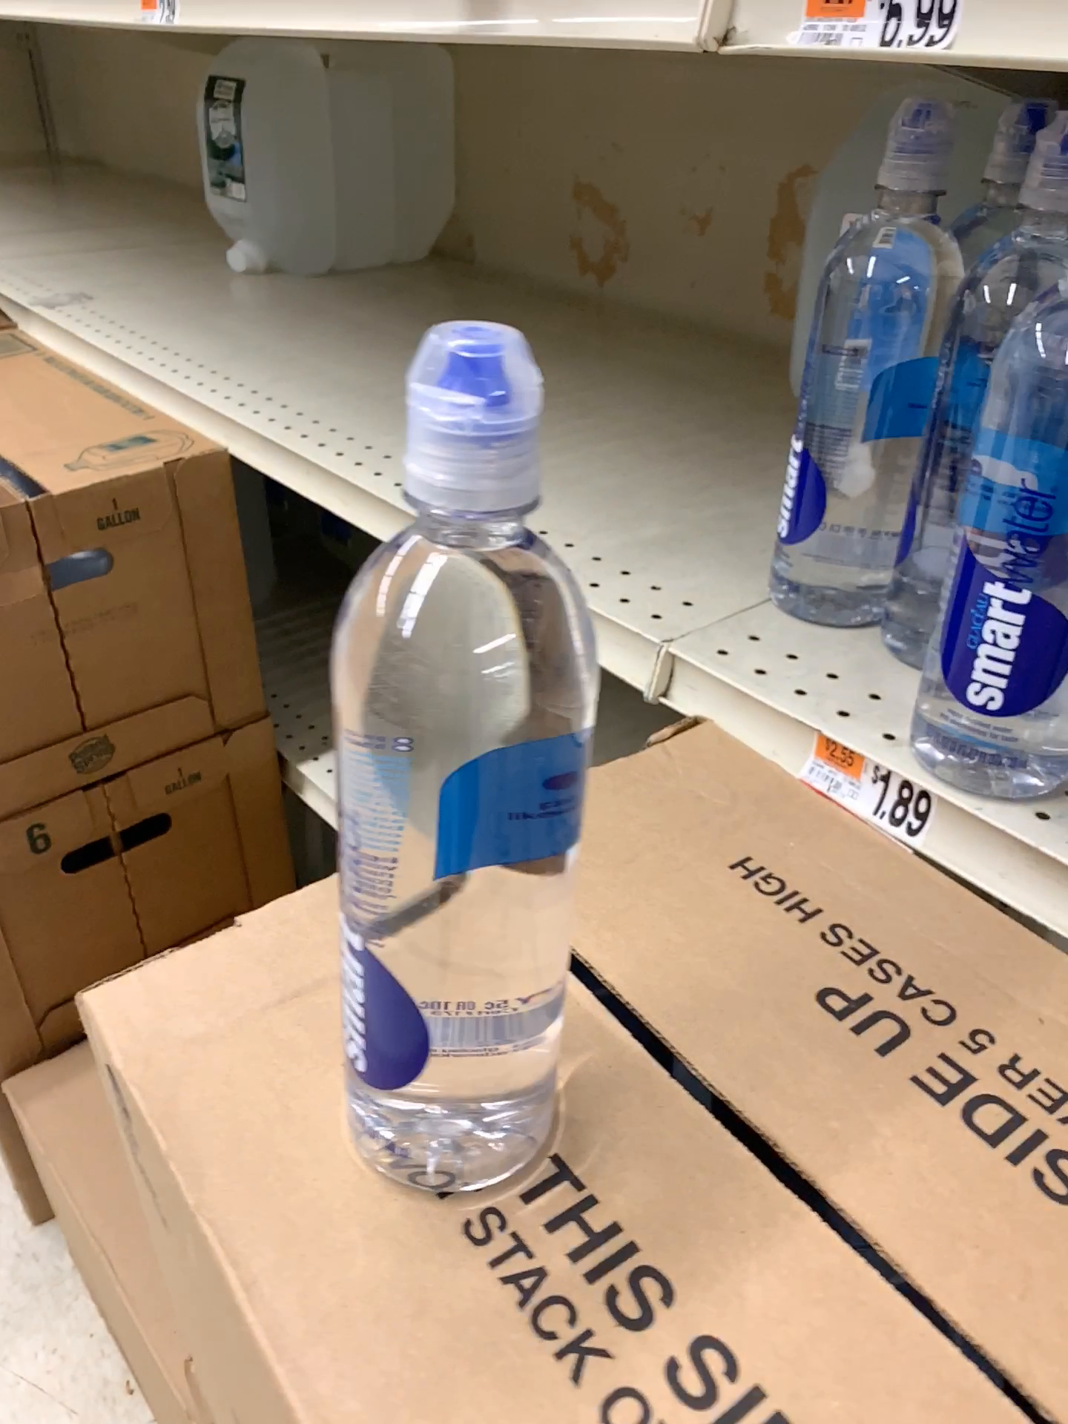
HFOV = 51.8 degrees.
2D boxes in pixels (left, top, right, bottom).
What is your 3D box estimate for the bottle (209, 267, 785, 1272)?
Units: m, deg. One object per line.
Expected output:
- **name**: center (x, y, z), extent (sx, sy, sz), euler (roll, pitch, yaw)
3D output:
- **bottle**: center (-0.012, 0.022, 0.301), extent (0.090, 0.249, 0.090), euler (1, 32, 0)
